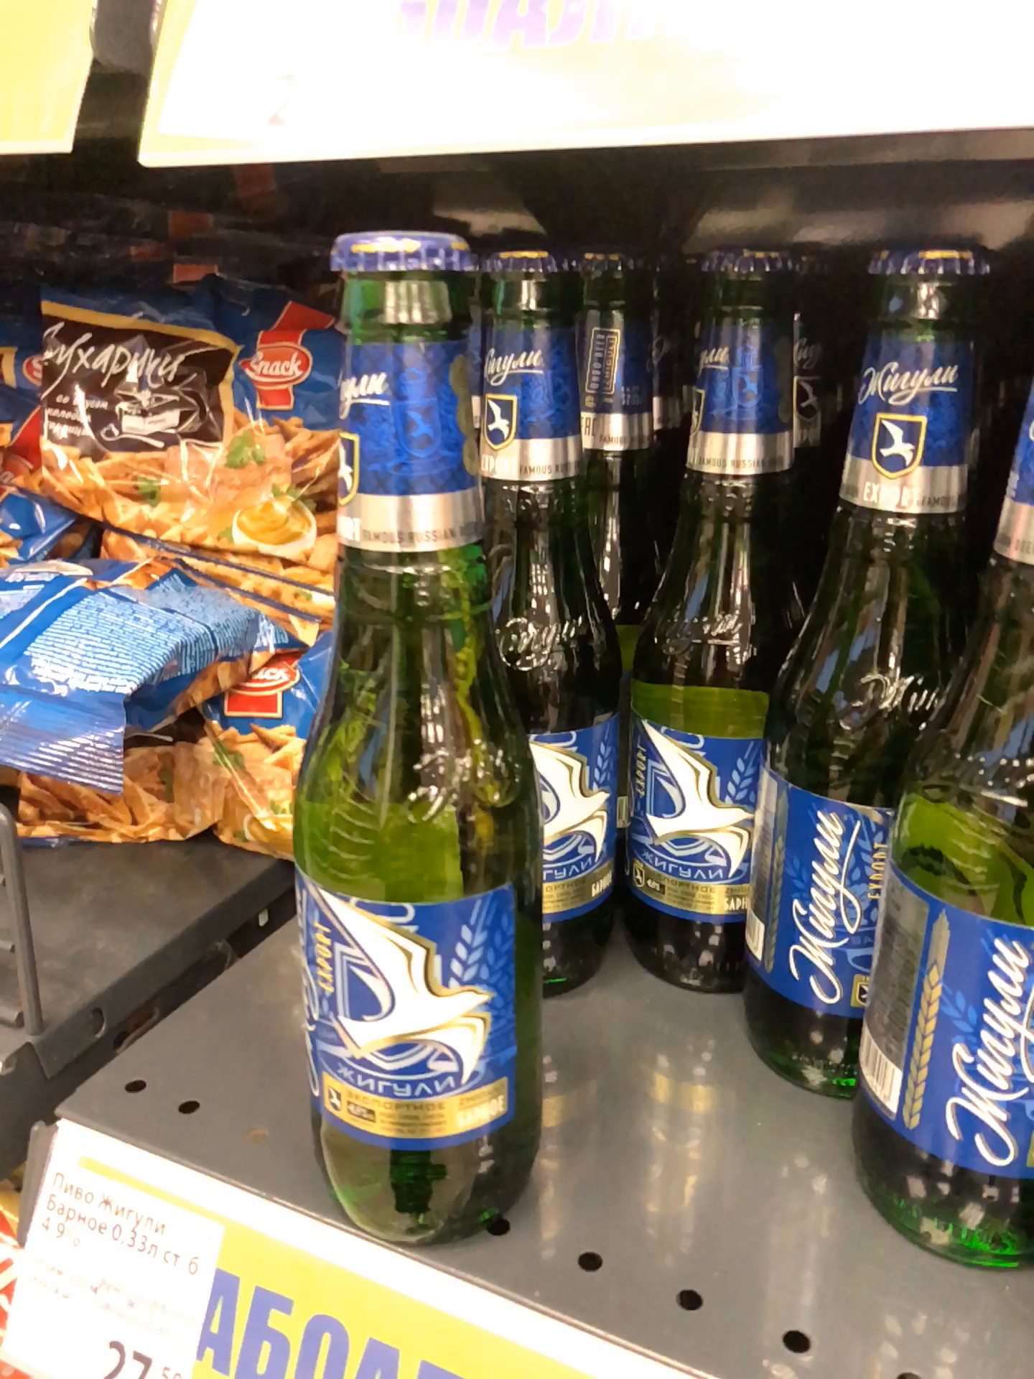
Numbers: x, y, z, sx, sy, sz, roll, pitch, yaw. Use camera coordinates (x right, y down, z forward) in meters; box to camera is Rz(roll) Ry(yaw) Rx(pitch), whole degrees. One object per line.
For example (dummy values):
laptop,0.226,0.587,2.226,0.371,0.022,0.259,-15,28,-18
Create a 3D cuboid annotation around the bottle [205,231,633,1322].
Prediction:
bottle,-0.016,0.023,0.266,0.063,0.239,0.063,0,20,0
